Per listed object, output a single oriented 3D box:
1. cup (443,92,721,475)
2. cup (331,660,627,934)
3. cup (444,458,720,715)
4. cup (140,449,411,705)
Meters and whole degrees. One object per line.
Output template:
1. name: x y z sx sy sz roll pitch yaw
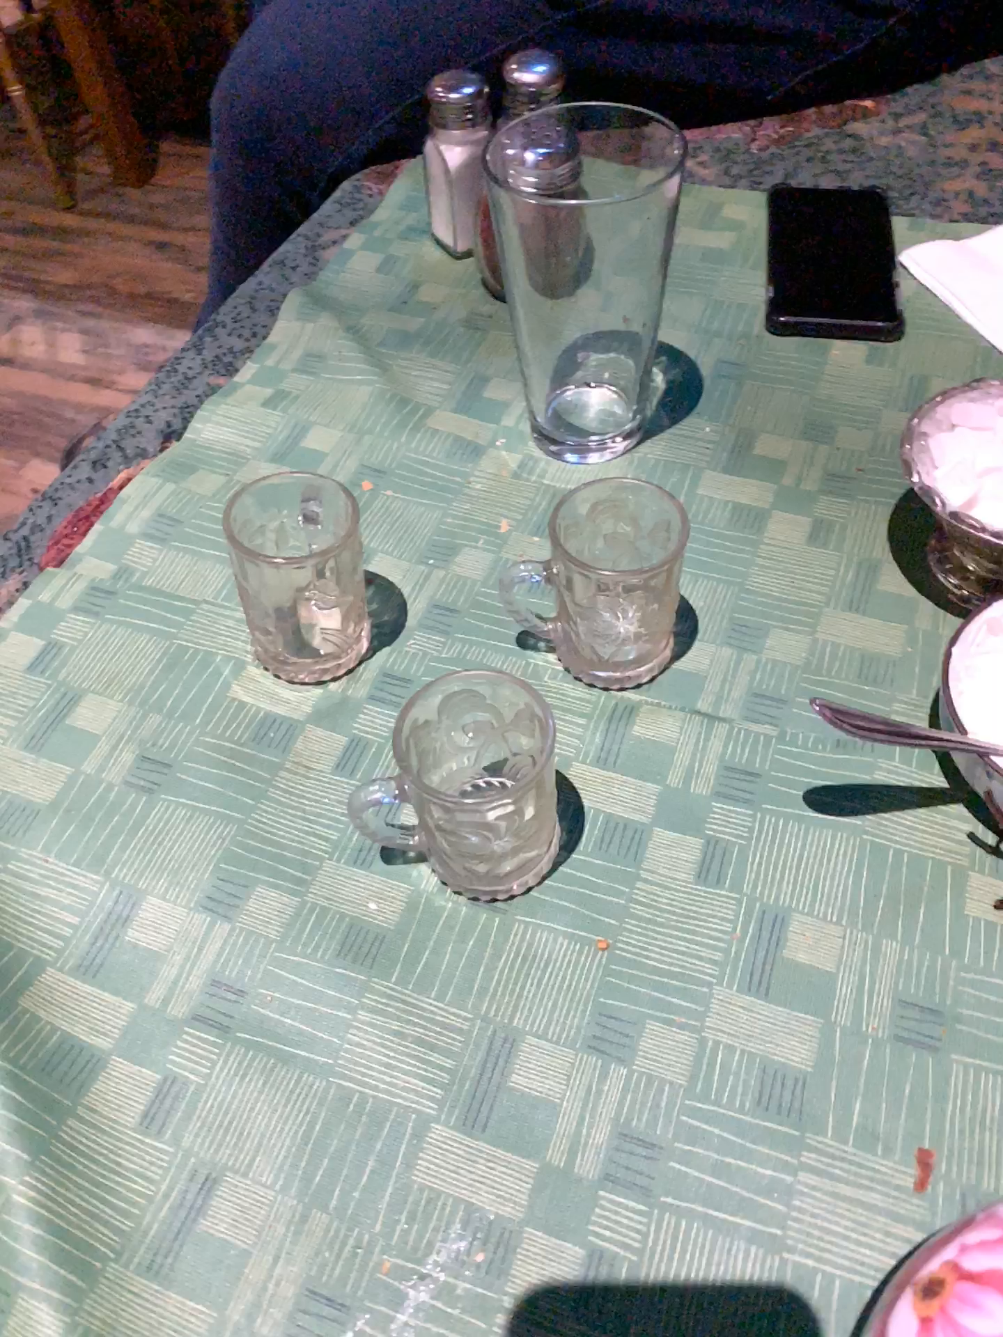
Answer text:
1. cup: 0.043 -0.185 0.499 0.100 0.129 0.110 9 53 12
2. cup: -0.006 0.046 0.357 0.090 0.070 0.060 -5 51 2
3. cup: 0.030 -0.032 0.403 0.090 0.060 0.060 -11 51 -3
4. cup: -0.086 -0.038 0.413 0.070 0.050 0.080 11 53 14
